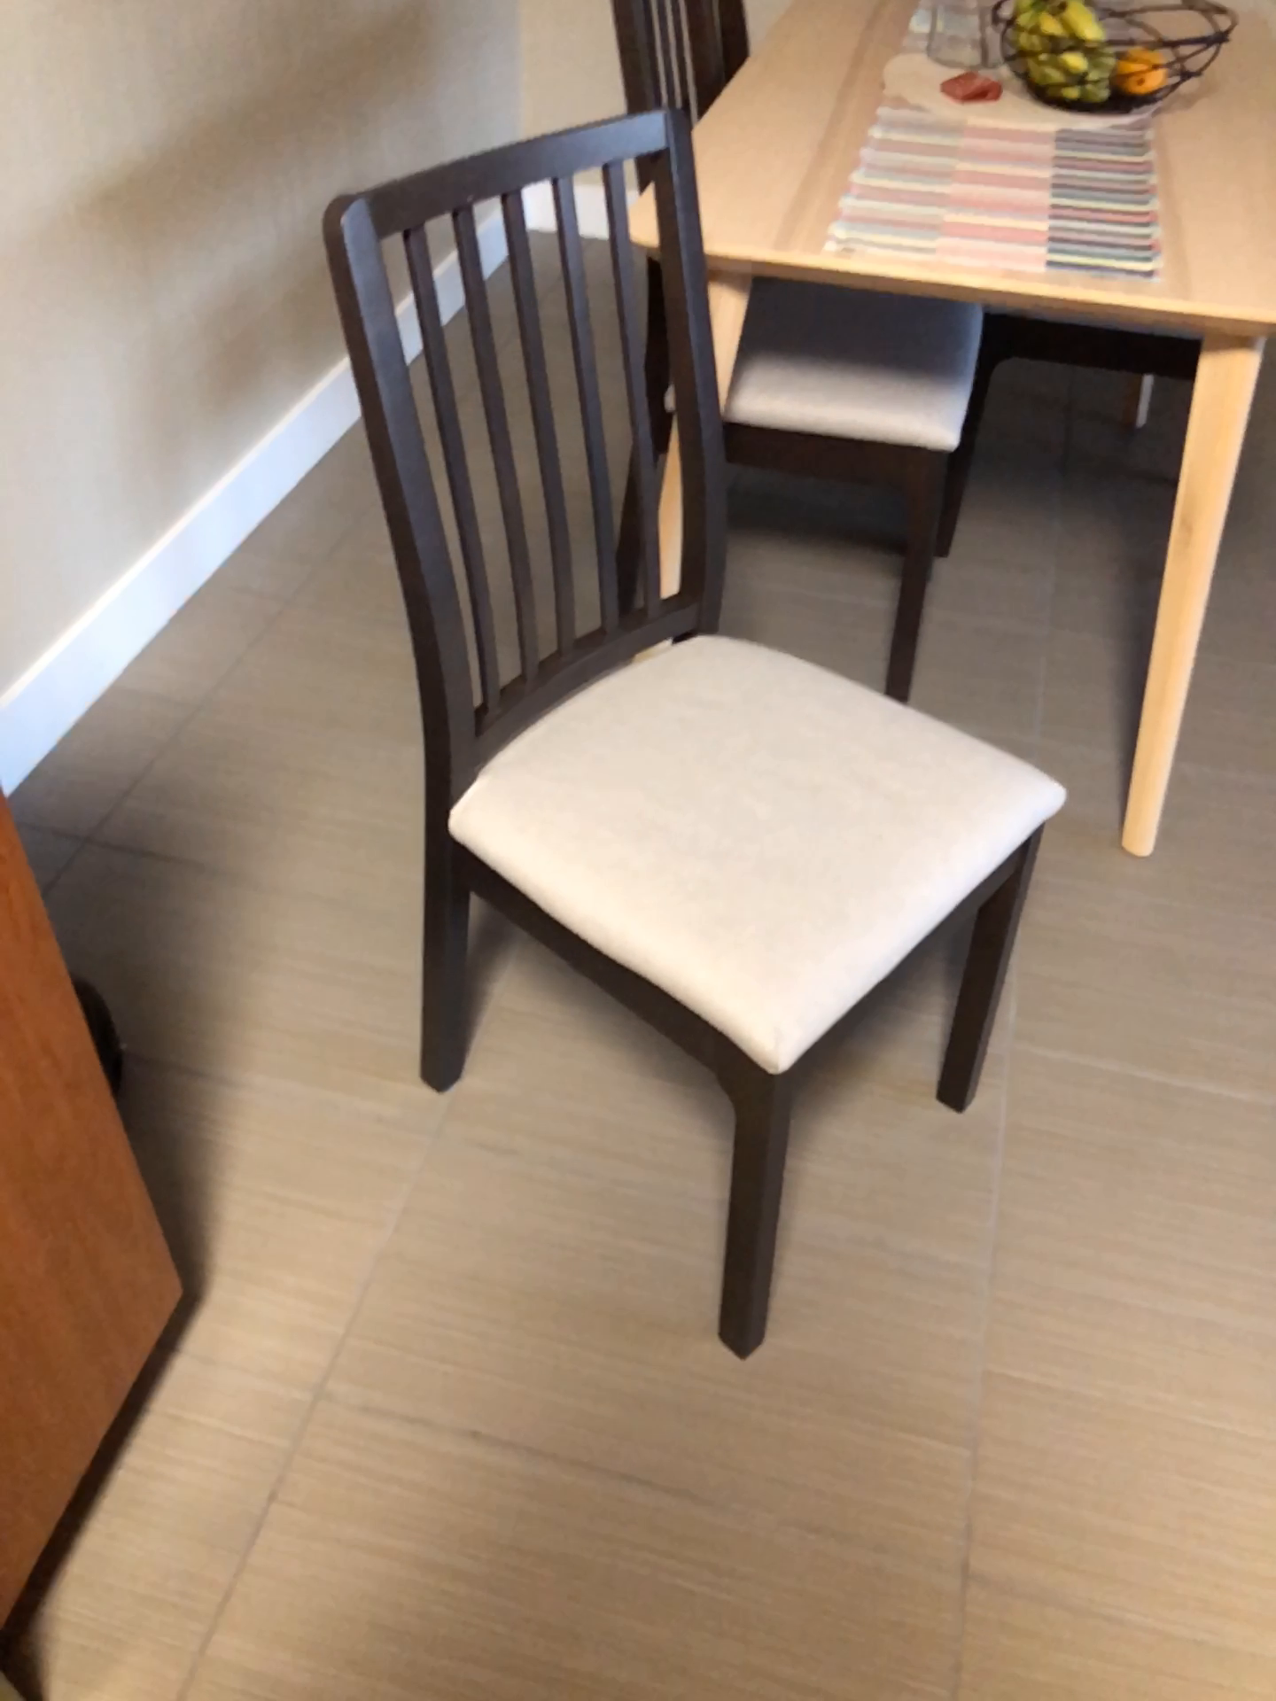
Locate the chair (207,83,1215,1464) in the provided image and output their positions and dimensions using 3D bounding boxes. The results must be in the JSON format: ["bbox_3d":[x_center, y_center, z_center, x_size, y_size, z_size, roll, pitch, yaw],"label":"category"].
[{"bbox_3d":[0.036,-0.021,1.359,0.511,1.125,0.481,34,51,31],"label":"chair"}]
